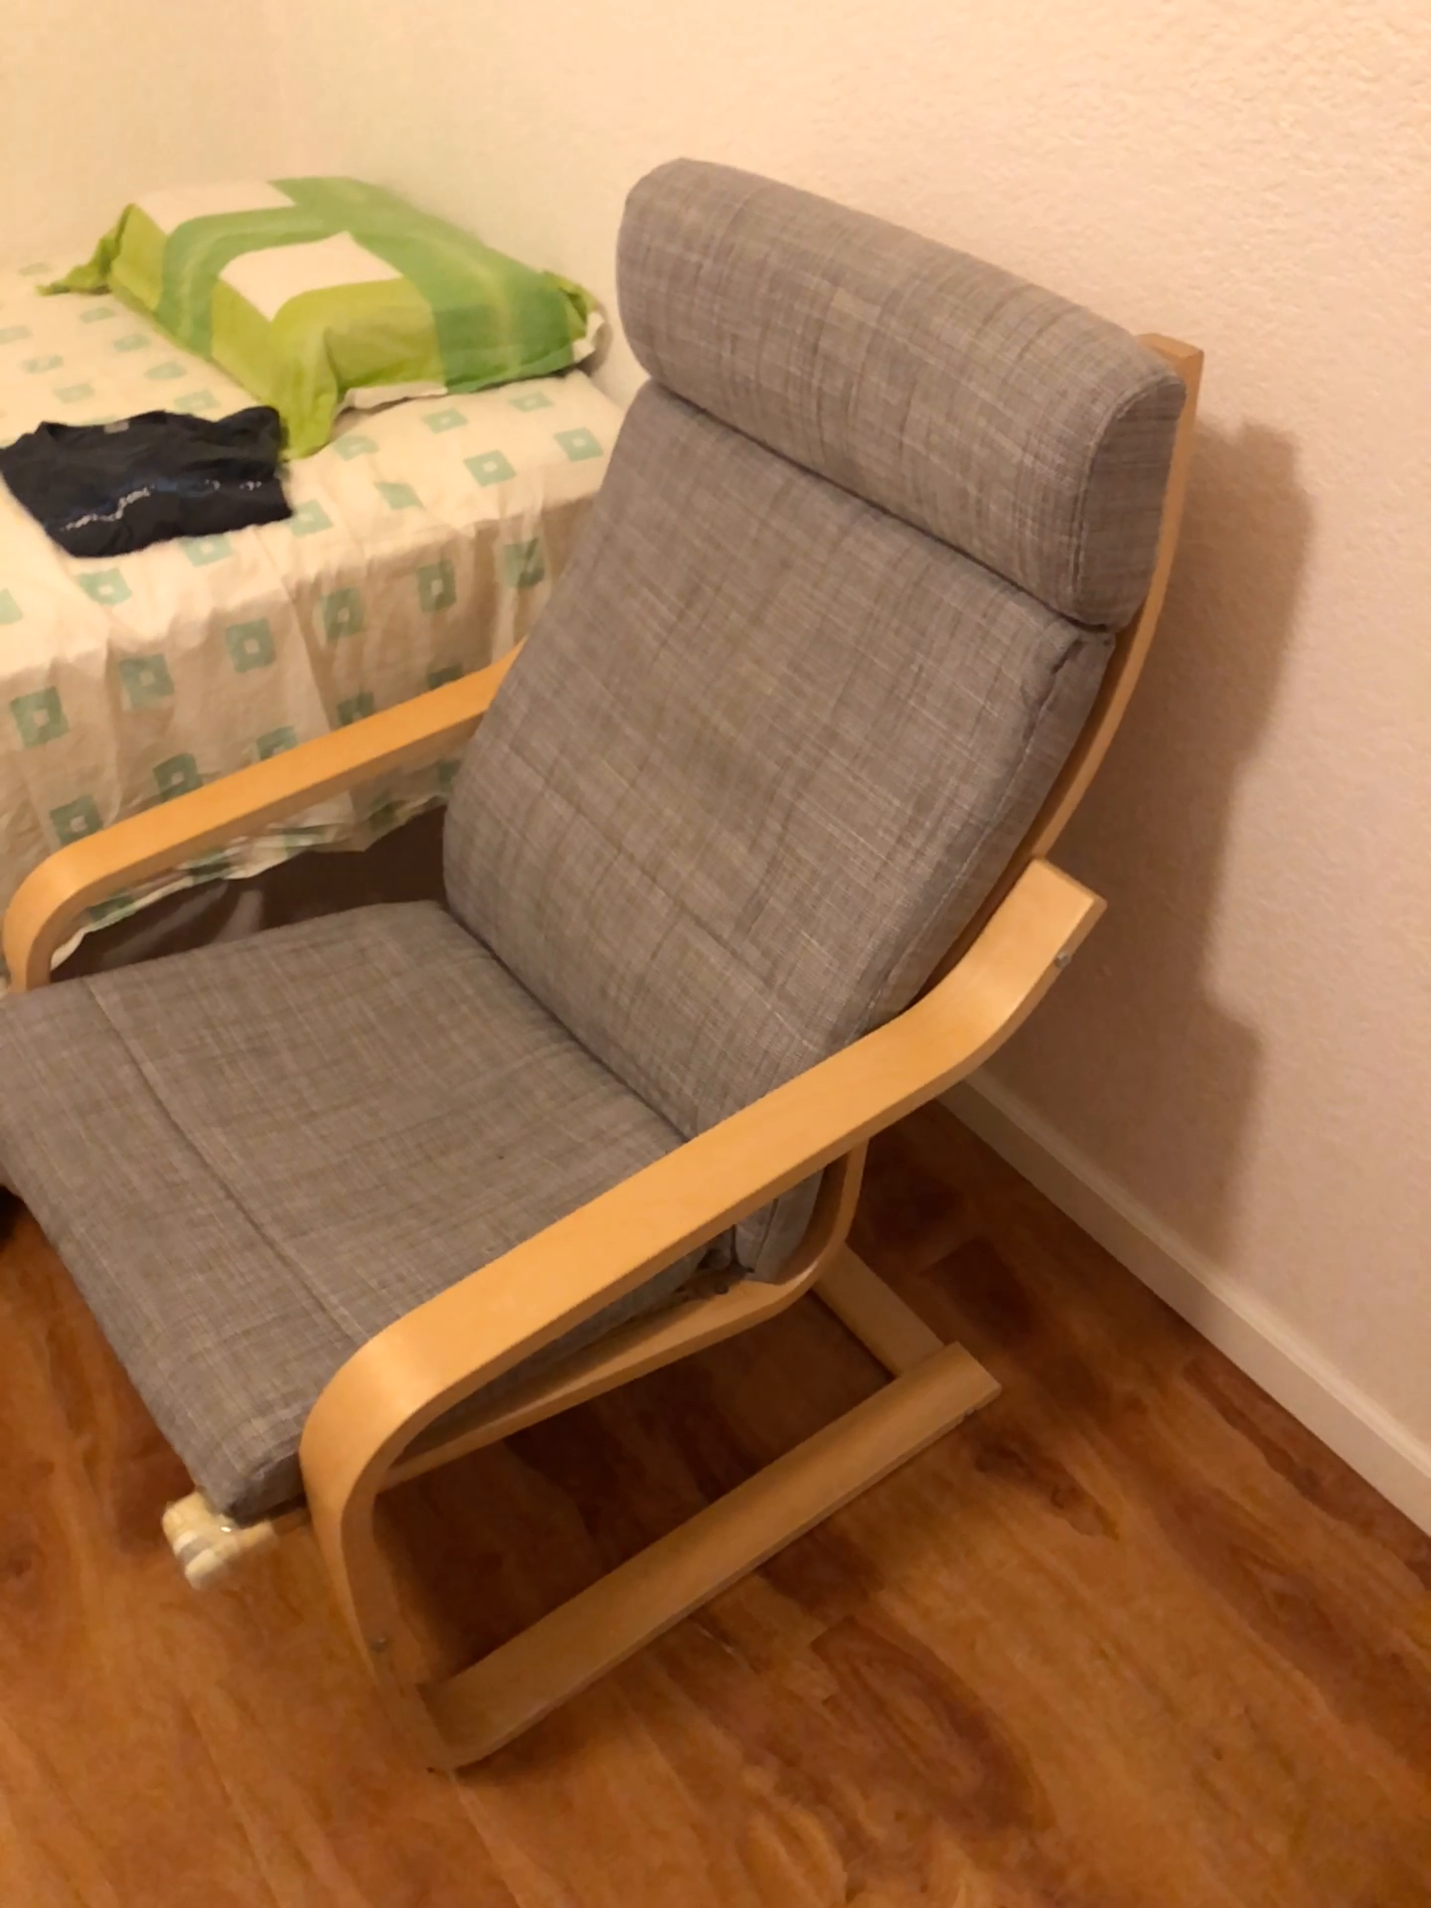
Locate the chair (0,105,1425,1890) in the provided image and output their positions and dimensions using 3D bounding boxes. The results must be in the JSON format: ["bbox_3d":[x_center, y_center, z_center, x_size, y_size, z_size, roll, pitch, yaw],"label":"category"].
[{"bbox_3d":[-0.131,-0.021,1.182,0.802,0.885,0.683,-25,46,-25],"label":"chair"}]
